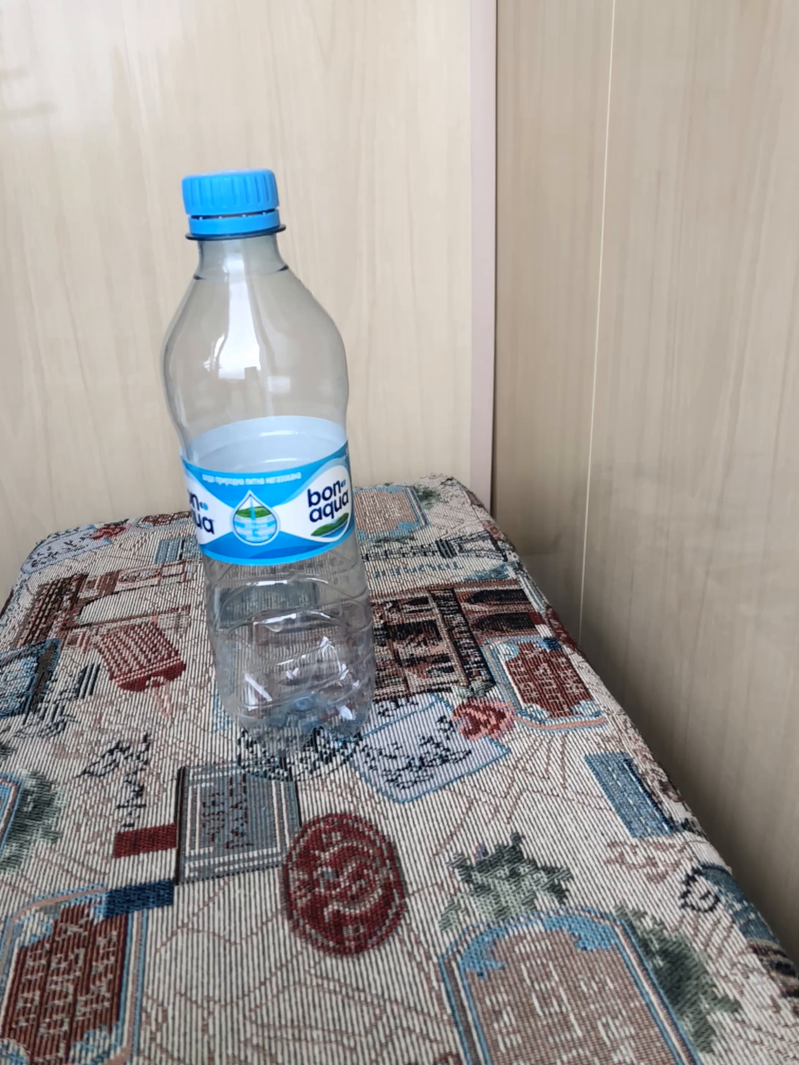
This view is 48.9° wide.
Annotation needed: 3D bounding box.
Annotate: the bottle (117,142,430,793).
[{"bbox_3d":[-0.041,-0.025,0.316,0.070,0.209,0.080,-13,26,-22],"label":"bottle"}]
